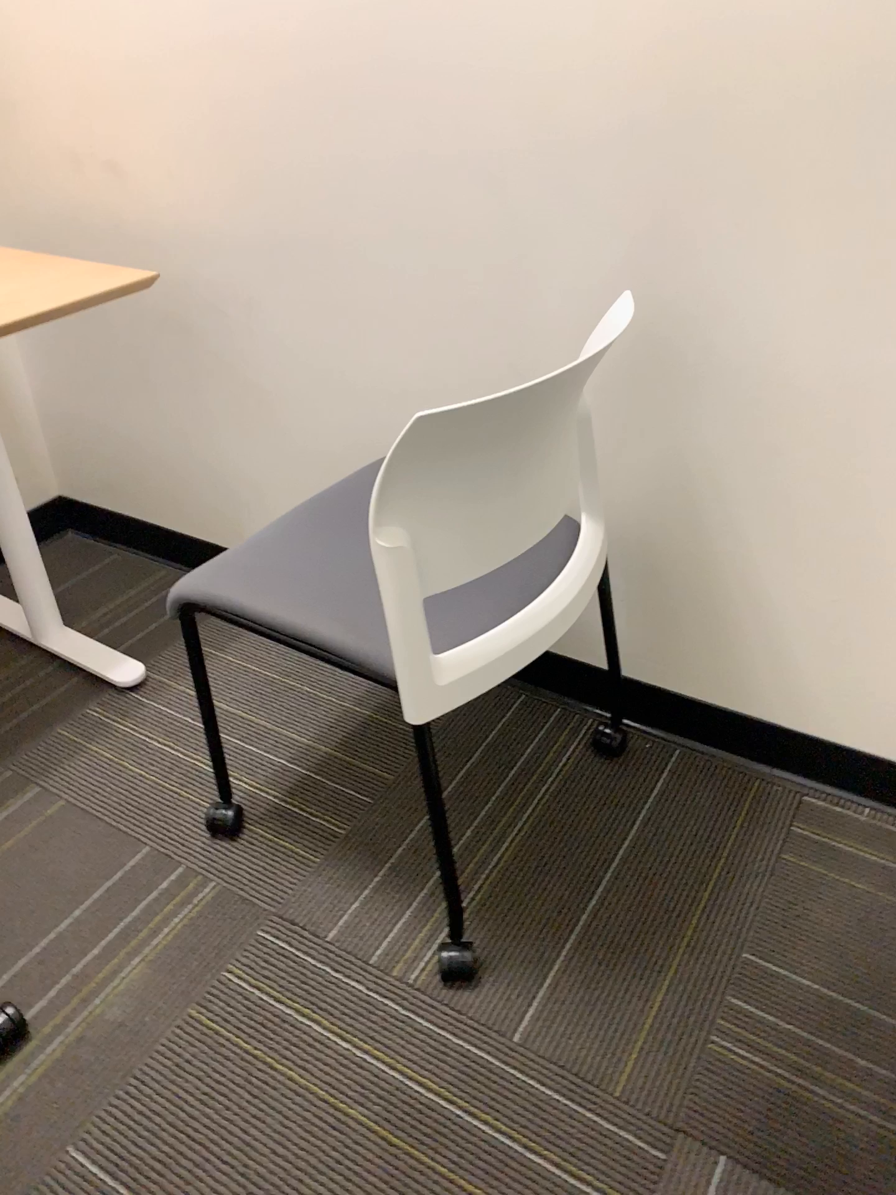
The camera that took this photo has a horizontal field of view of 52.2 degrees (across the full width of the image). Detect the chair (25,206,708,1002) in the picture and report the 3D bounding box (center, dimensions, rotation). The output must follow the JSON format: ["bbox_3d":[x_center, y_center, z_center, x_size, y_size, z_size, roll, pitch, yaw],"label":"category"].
[{"bbox_3d":[-0.052,-0.040,1.283,0.542,0.805,0.602,18,38,27],"label":"chair"}]
